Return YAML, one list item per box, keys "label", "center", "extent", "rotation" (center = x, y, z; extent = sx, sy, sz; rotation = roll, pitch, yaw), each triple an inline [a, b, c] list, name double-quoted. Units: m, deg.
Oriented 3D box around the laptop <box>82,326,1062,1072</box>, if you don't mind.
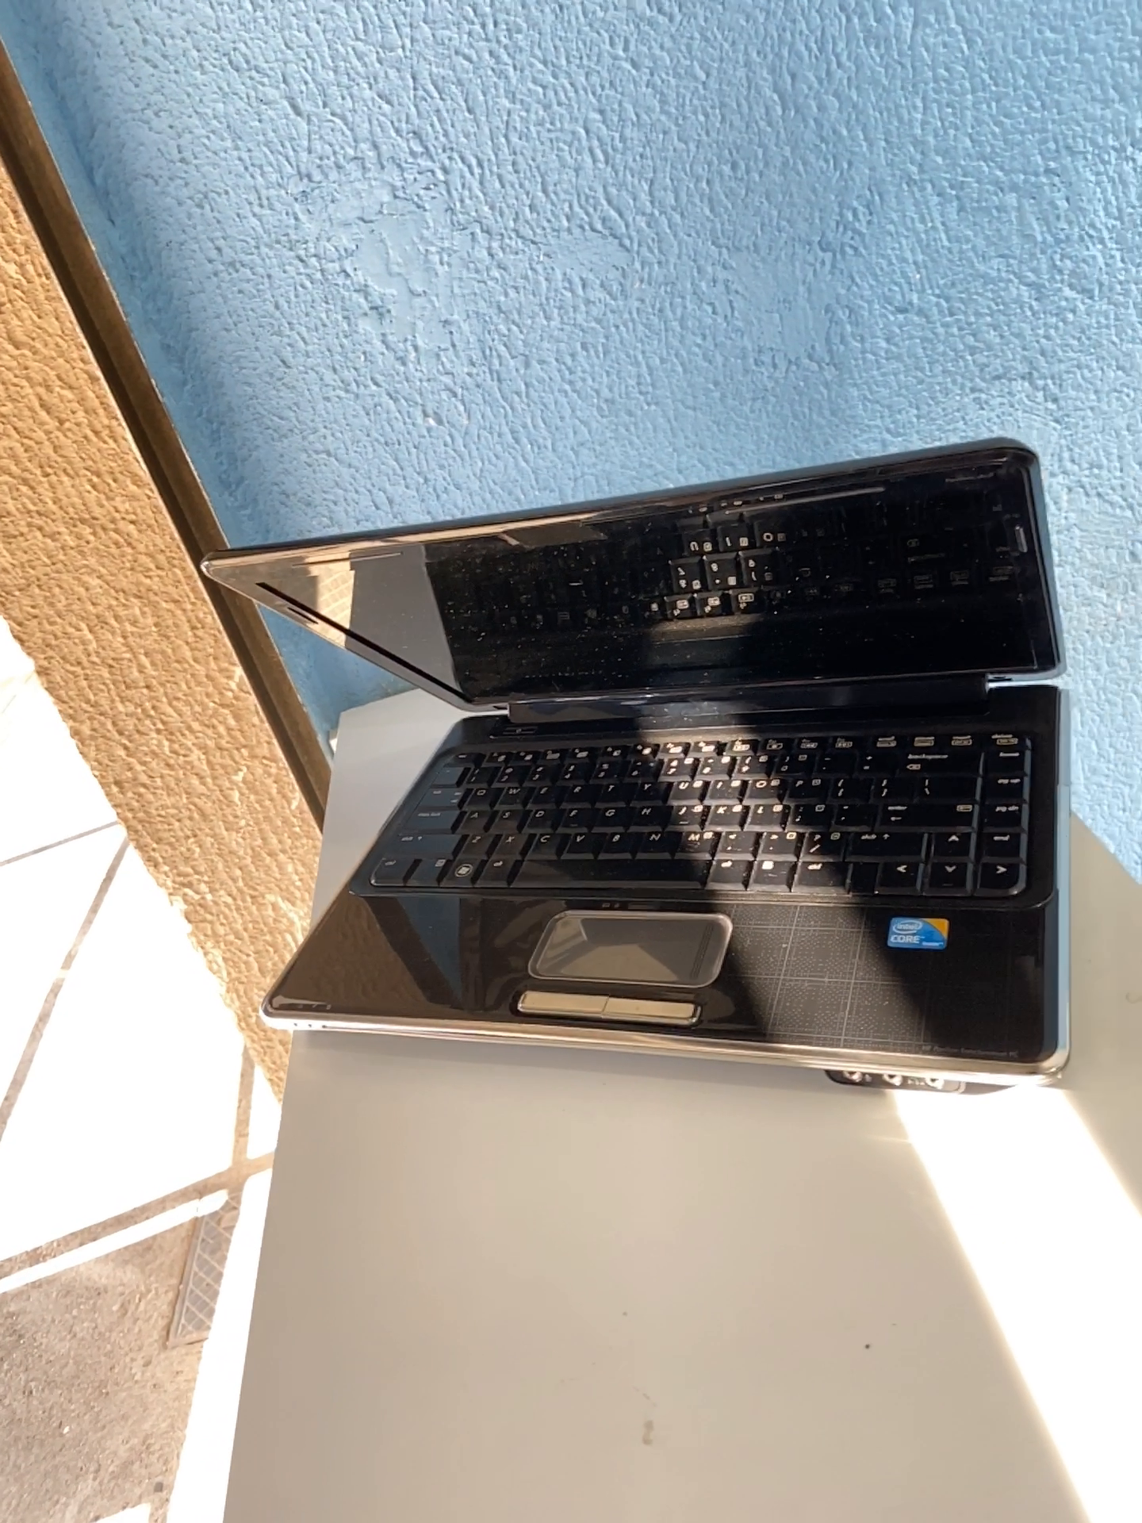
- label: "laptop"
  center: [0.023, -0.031, 0.490]
  extent: [0.325, 0.165, 0.226]
  rotation: [-2, 35, 25]
